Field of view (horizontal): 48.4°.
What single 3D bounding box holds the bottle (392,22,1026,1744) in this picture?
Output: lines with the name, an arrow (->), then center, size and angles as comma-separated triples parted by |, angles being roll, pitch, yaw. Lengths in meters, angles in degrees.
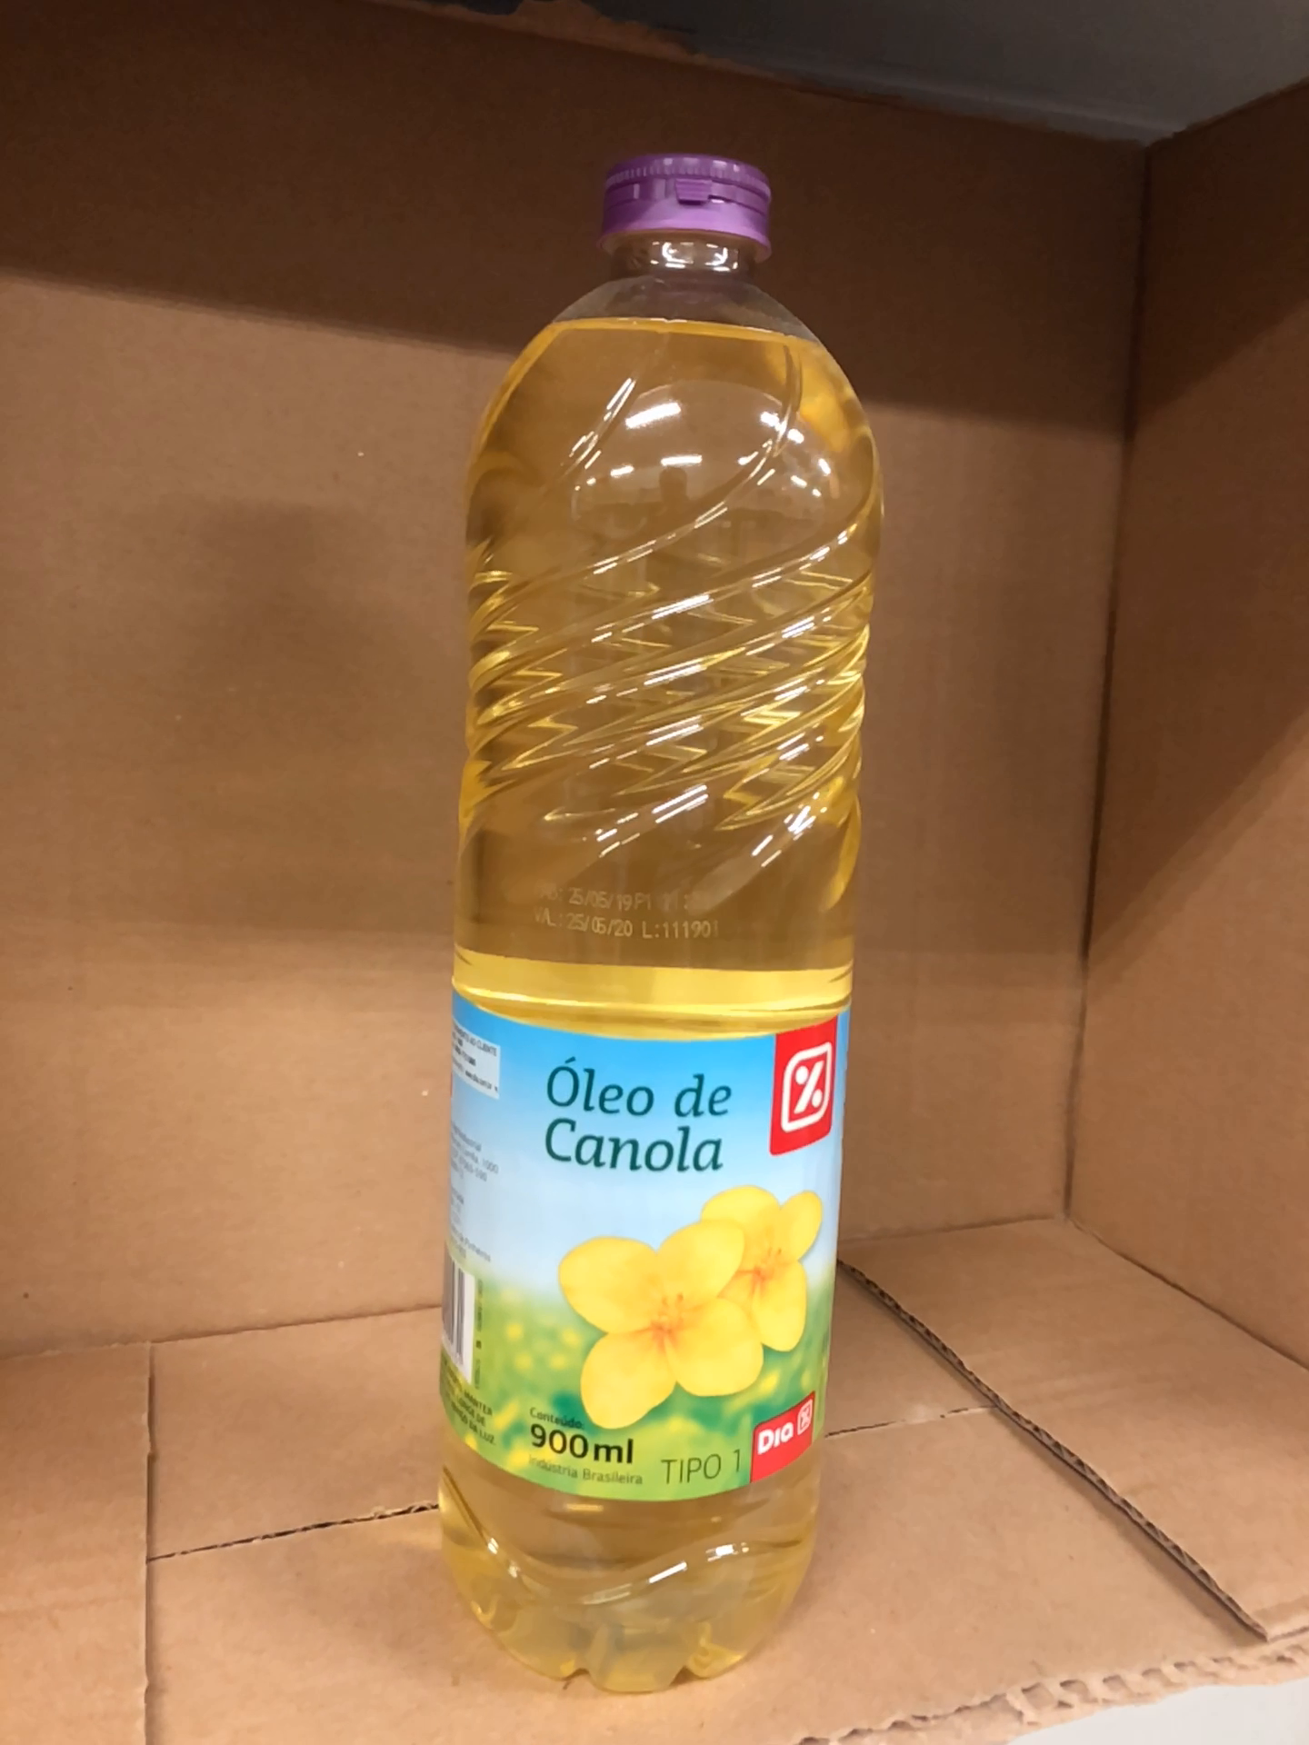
bottle -> 0.002, 0.011, 0.258 | 0.080, 0.269, 0.050 | 0, 11, -21
